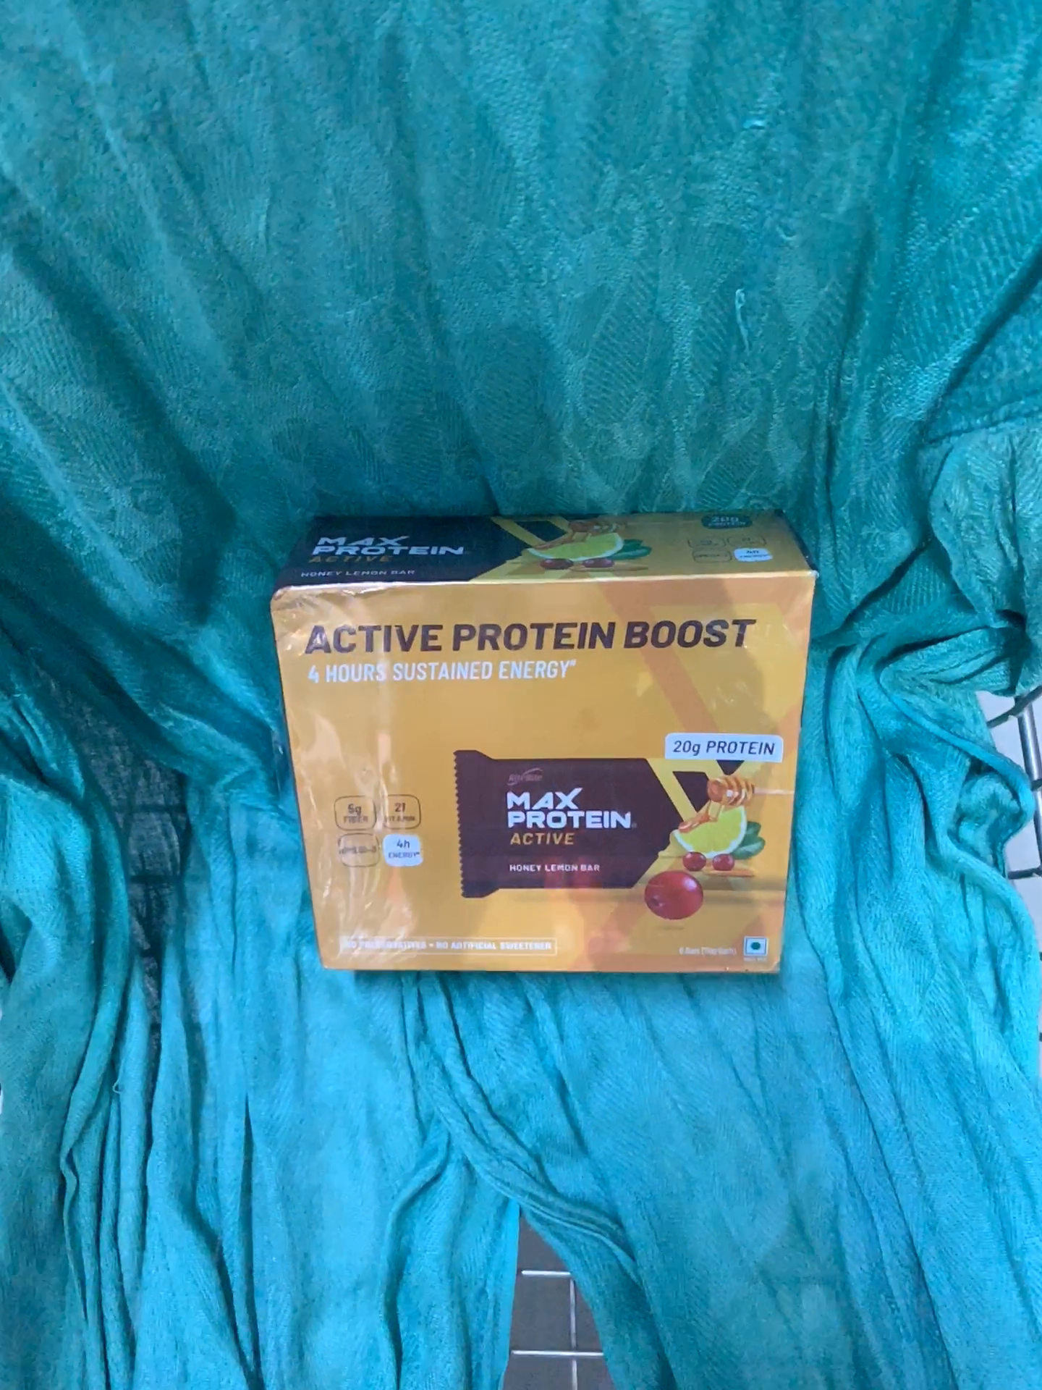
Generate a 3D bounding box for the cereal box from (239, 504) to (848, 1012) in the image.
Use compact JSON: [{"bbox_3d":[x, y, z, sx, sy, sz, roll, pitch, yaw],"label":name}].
[{"bbox_3d":[0.010,0.019,0.345,0.160,0.080,0.140,-1,113,4],"label":"cereal box"}]
